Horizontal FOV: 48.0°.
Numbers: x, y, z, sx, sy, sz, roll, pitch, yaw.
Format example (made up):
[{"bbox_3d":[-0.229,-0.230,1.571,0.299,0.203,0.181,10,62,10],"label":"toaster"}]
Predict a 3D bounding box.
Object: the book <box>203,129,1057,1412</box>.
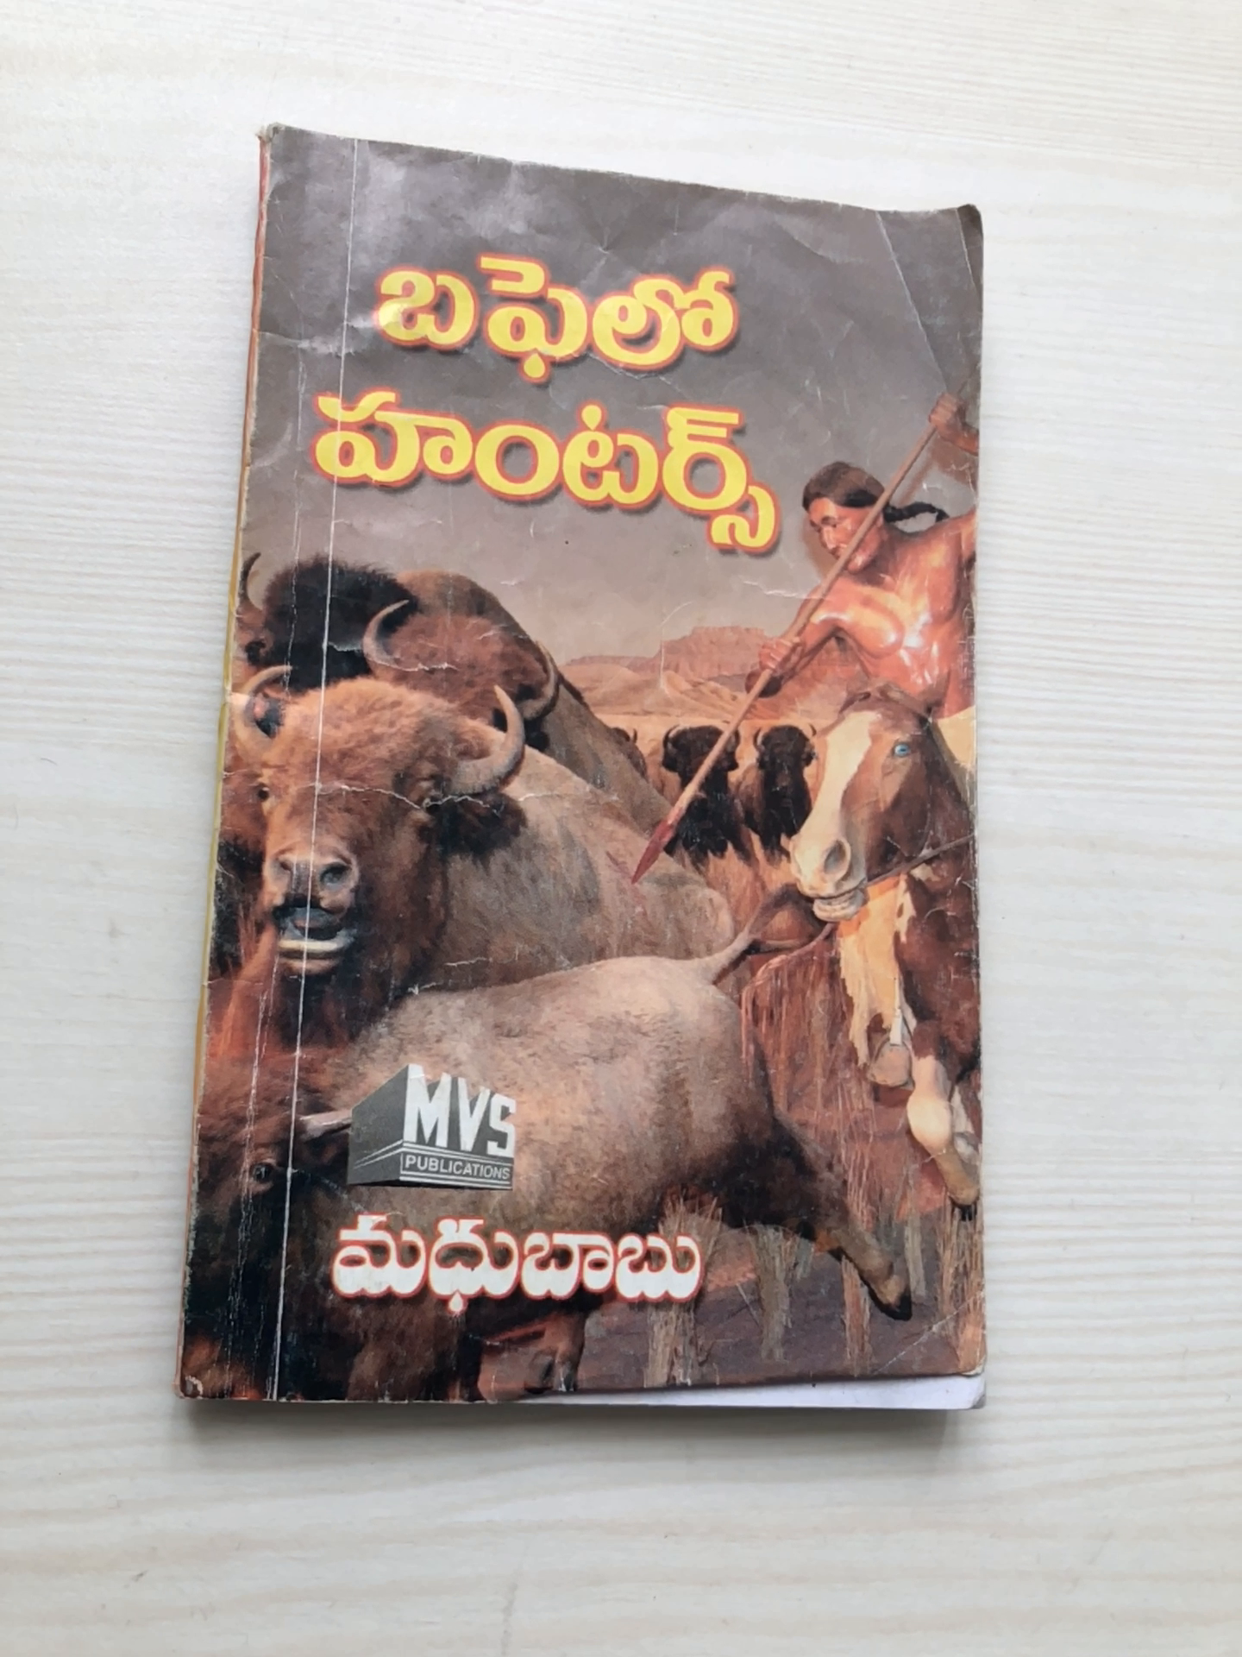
[{"bbox_3d":[0.003,-0.006,0.180,0.100,0.020,0.150,3,87,-8],"label":"book"}]
